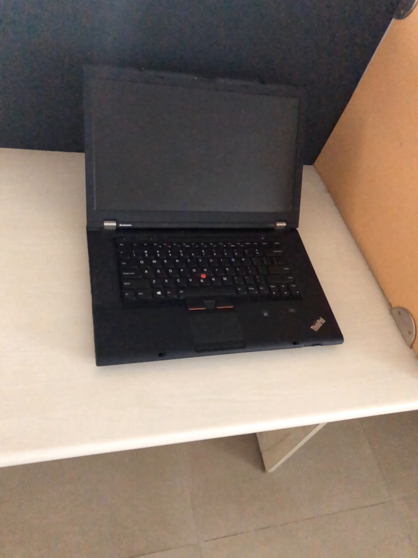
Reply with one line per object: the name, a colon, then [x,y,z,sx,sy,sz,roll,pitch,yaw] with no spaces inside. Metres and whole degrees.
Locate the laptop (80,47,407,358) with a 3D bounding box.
laptop: [0.010,-0.116,0.674,0.354,0.185,0.381,-2,56,-19]
